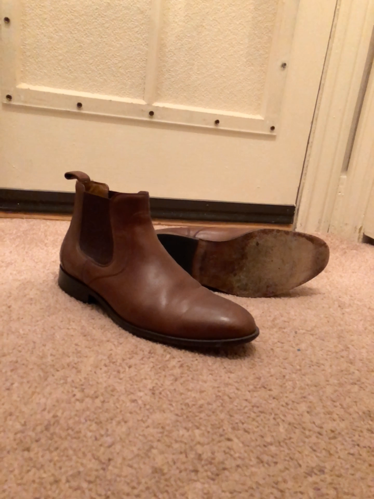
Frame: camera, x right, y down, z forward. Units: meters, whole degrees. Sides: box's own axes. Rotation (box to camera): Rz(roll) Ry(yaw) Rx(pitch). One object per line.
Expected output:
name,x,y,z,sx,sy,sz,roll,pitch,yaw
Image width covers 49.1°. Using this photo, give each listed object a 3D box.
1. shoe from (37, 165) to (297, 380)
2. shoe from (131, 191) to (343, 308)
shoe,-0.042,0.002,0.499,0.296,0.158,0.109,18,20,31
shoe,0.065,-0.006,0.673,0.296,0.119,0.170,6,16,-8
